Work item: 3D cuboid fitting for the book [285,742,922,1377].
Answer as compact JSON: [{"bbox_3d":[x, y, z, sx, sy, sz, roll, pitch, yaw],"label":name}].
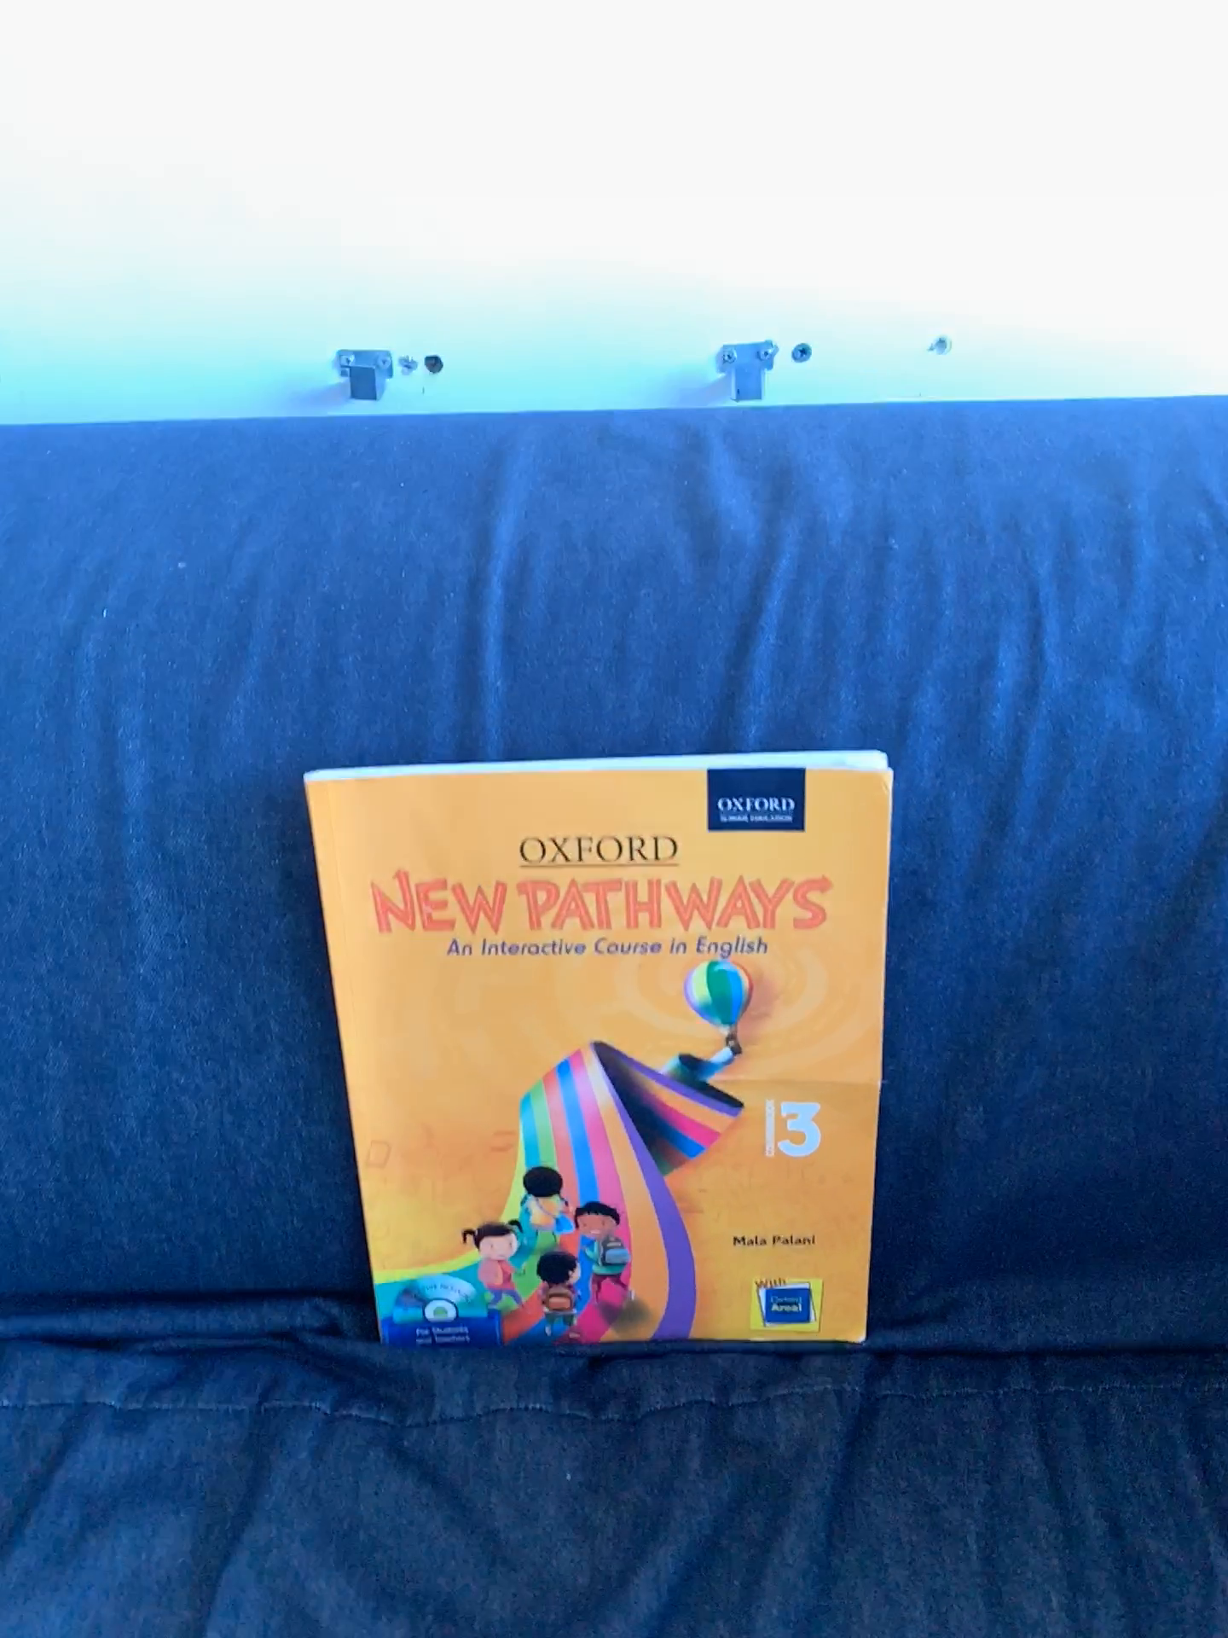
[{"bbox_3d":[-0.001,0.109,0.519,0.230,0.283,0.030,-1,22,1],"label":"book"}]
